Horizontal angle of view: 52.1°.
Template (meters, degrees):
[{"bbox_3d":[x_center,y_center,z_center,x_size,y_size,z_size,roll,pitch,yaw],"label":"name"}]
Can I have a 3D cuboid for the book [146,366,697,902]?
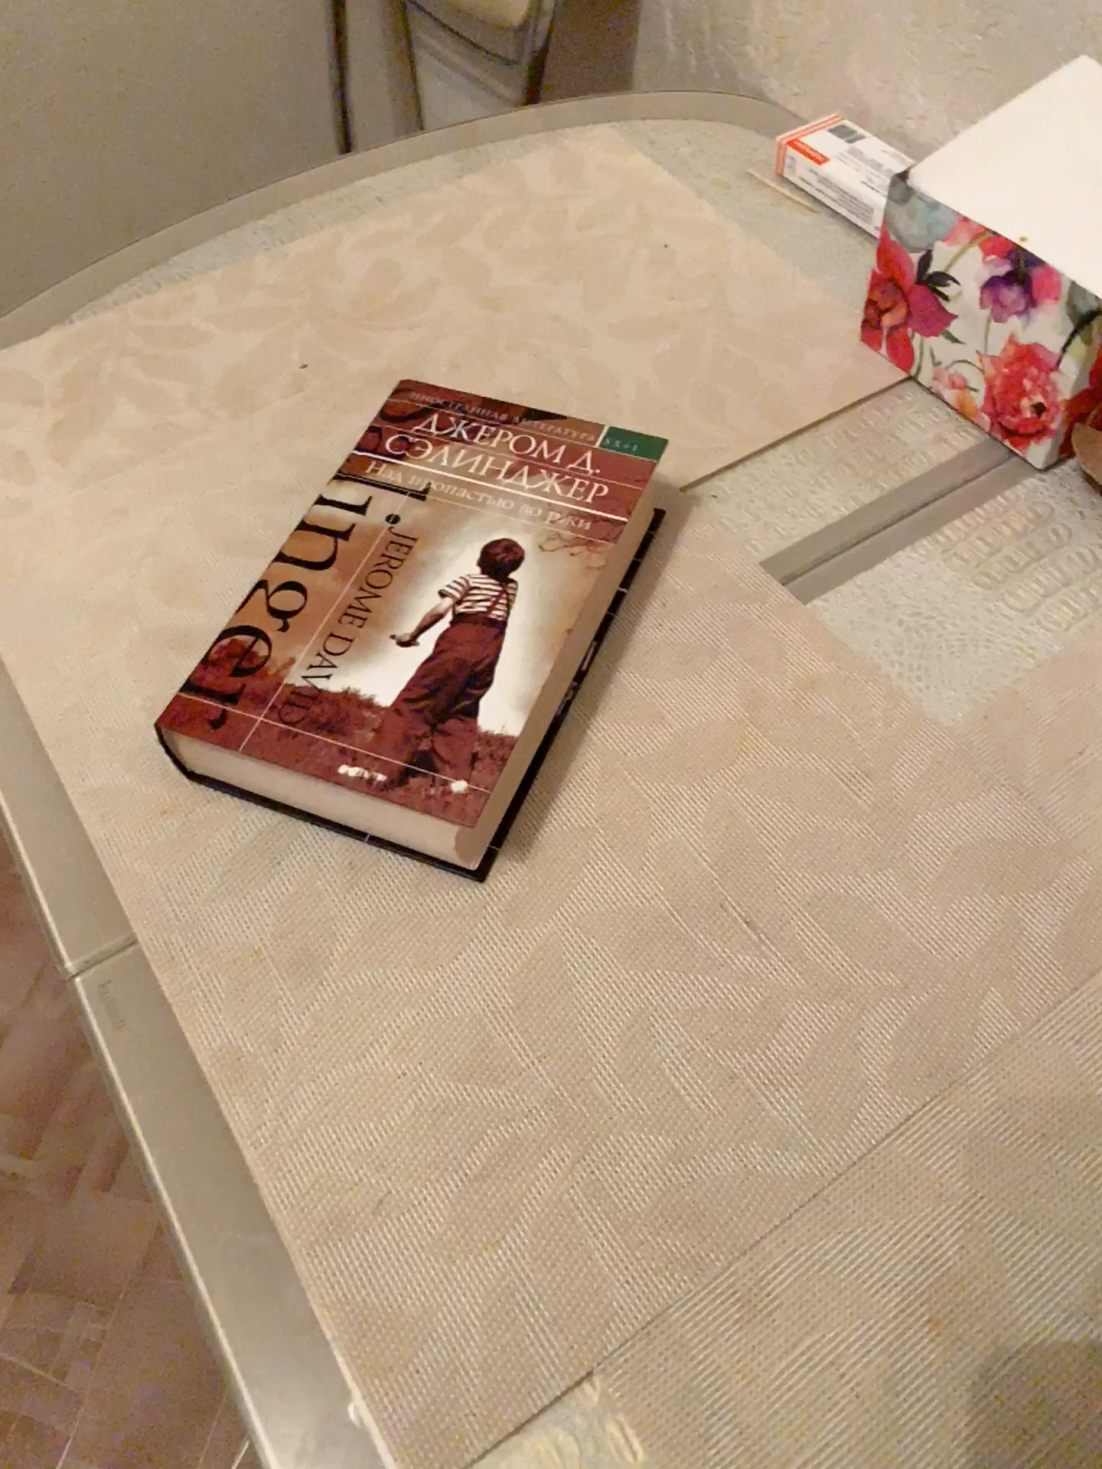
[{"bbox_3d":[-0.044,-0.057,0.491,0.150,0.049,0.221,17,59,16],"label":"book"}]
